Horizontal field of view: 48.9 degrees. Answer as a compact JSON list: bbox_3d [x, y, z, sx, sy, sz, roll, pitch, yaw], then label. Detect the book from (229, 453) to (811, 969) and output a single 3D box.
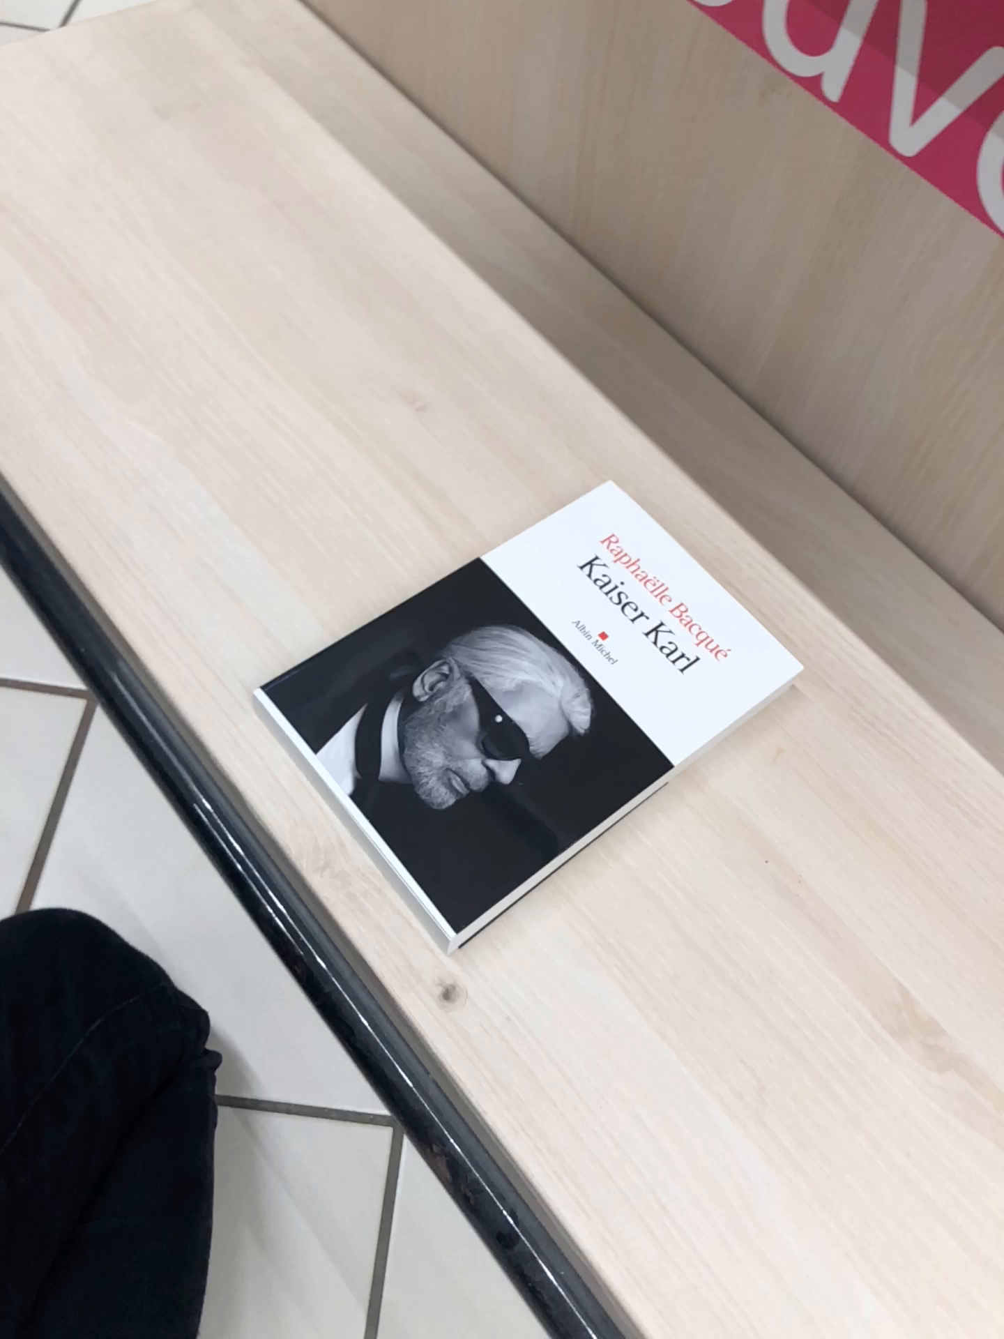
[{"bbox_3d":[0.012,0.006,0.508,0.221,0.030,0.150,-34,71,-25],"label":"book"}]
